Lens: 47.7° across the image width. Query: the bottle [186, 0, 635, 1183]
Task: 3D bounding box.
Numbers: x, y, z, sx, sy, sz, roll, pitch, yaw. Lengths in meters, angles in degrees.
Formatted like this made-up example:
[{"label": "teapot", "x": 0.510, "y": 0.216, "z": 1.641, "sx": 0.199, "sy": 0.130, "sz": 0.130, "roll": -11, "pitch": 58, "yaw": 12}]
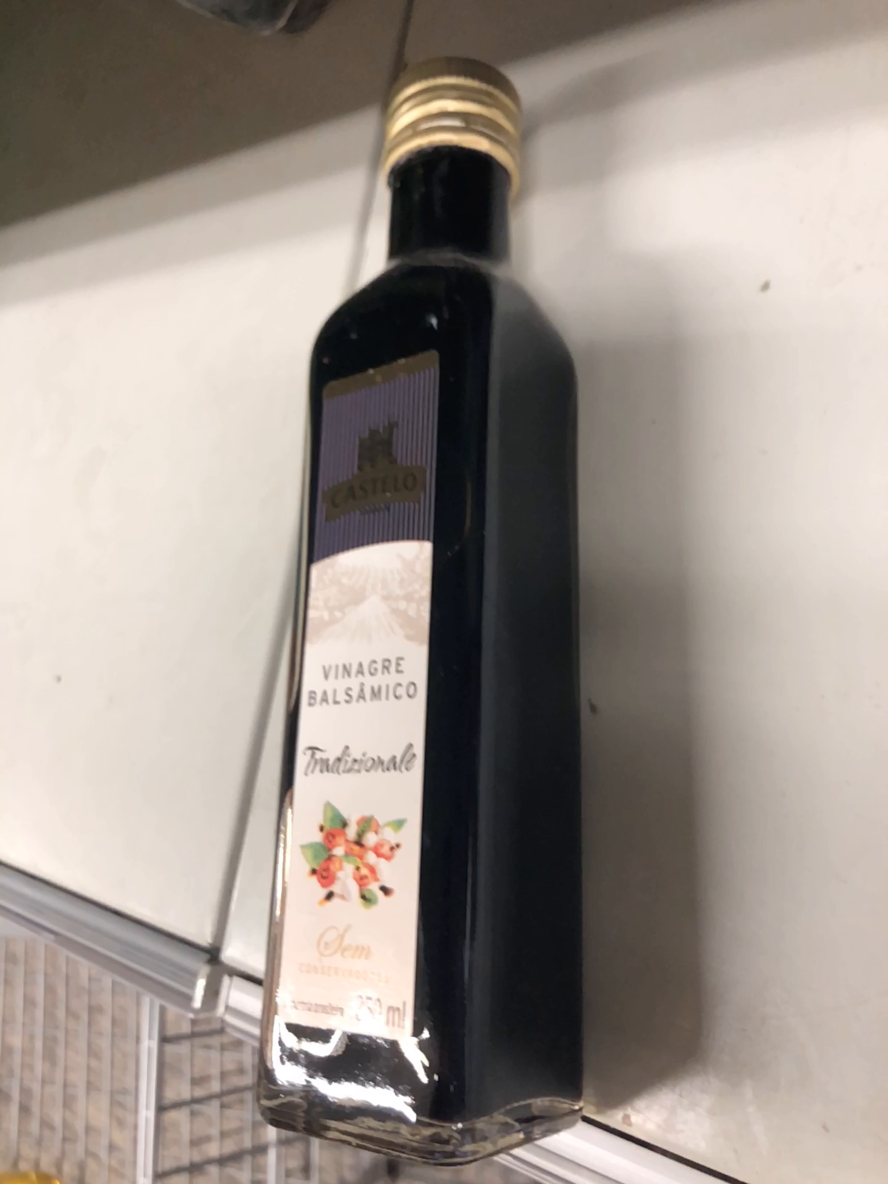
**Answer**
[{"label": "bottle", "x": 0.000, "y": -0.014, "z": 0.214, "sx": 0.060, "sy": 0.060, "sz": 0.250, "roll": -6, "pitch": 75, "yaw": 34}]
